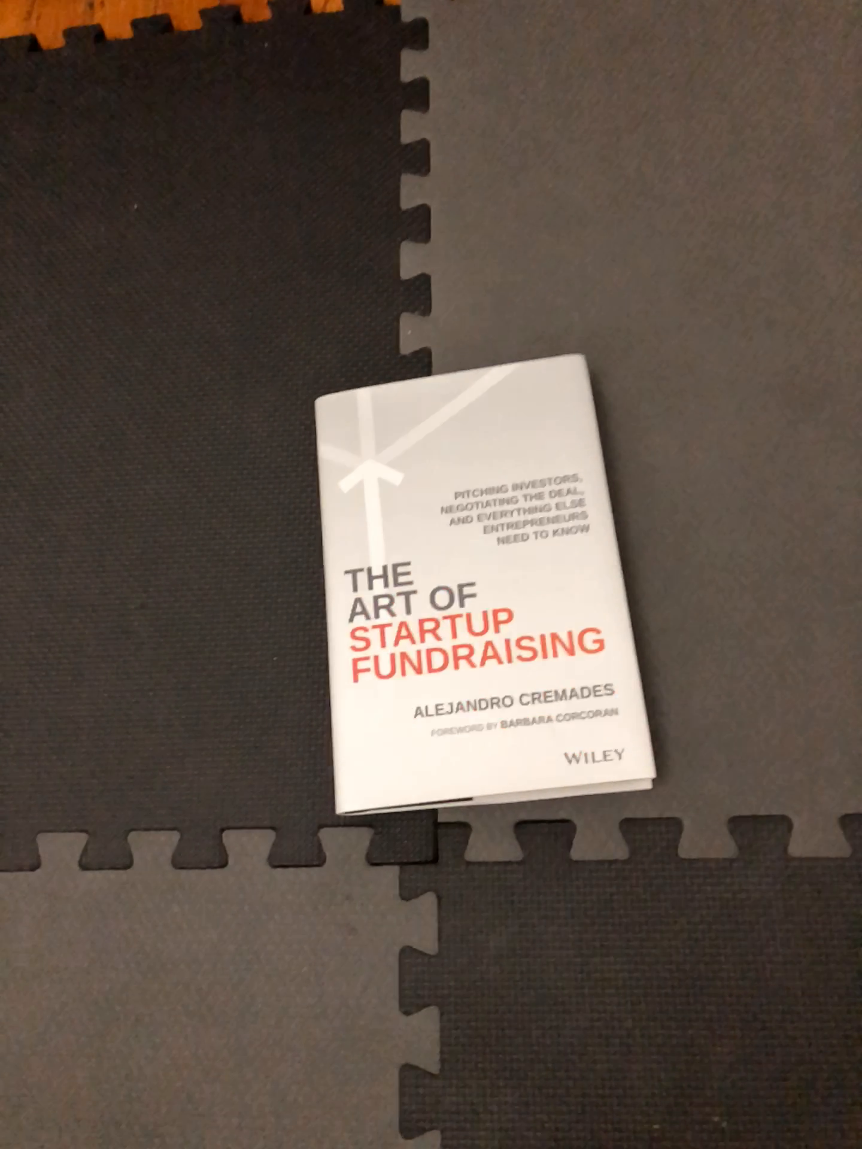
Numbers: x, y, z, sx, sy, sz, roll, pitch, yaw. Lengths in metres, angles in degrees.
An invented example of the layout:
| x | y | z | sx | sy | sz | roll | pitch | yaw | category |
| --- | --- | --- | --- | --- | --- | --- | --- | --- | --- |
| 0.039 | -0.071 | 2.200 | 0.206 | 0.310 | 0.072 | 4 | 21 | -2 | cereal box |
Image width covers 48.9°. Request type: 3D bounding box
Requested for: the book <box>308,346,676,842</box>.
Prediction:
| x | y | z | sx | sy | sz | roll | pitch | yaw | category |
| --- | --- | --- | --- | --- | --- | --- | --- | --- | --- |
| 0.024 | 0.006 | 0.506 | 0.170 | 0.030 | 0.250 | -6 | 70 | 7 | book |
